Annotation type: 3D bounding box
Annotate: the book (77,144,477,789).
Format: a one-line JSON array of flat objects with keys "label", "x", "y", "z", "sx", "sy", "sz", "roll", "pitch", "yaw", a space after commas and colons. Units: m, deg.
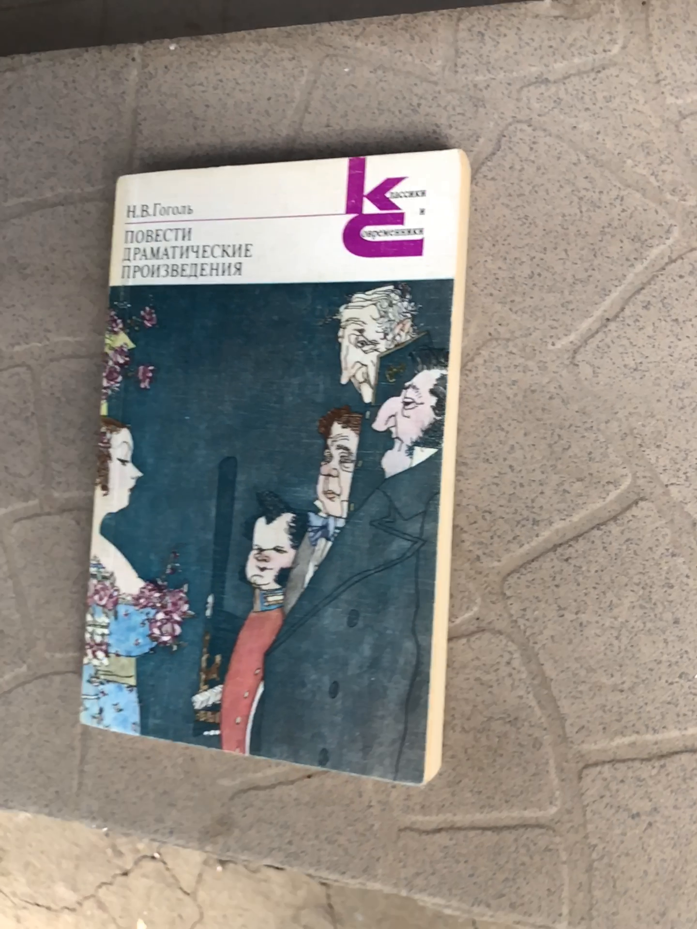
[{"label": "book", "x": -0.026, "y": -0.003, "z": 0.262, "sx": 0.124, "sy": 0.021, "sz": 0.193, "roll": 3, "pitch": 89, "yaw": 19}]
